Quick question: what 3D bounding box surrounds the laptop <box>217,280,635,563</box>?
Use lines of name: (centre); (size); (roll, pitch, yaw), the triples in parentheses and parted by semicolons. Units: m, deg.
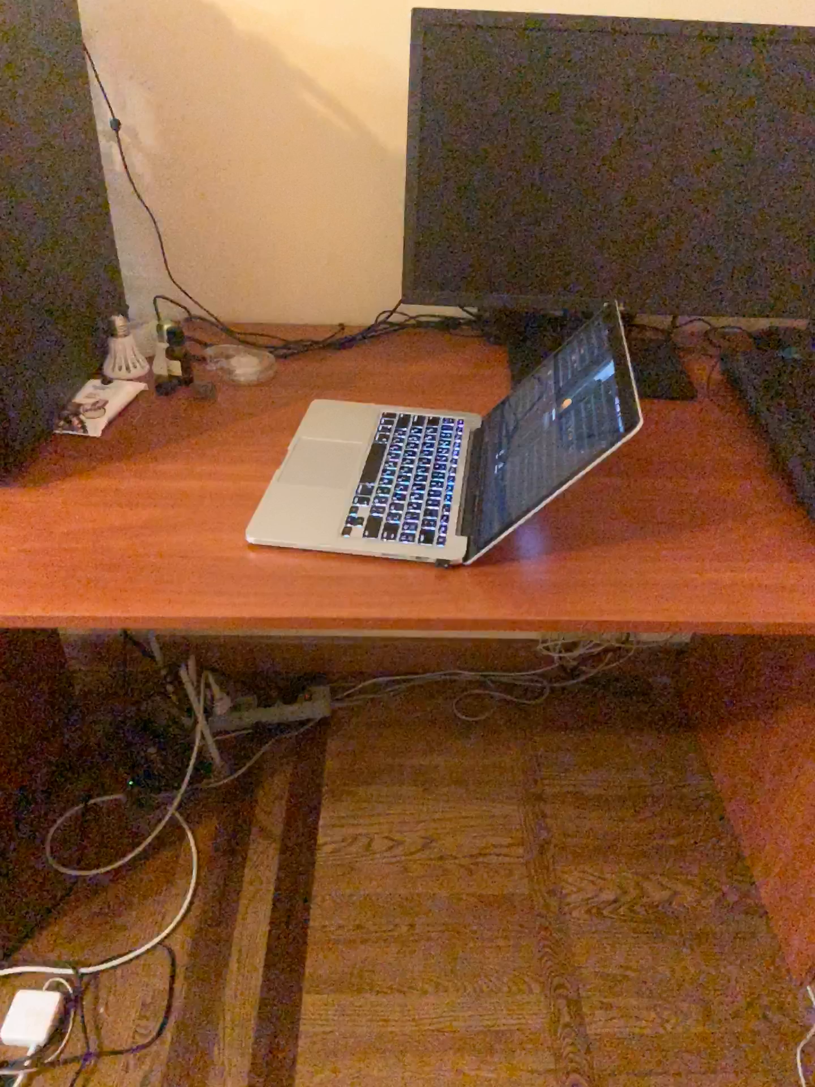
laptop: (0.028, -0.134, 0.807); (0.333, 0.139, 0.287); (4, 36, 5)
